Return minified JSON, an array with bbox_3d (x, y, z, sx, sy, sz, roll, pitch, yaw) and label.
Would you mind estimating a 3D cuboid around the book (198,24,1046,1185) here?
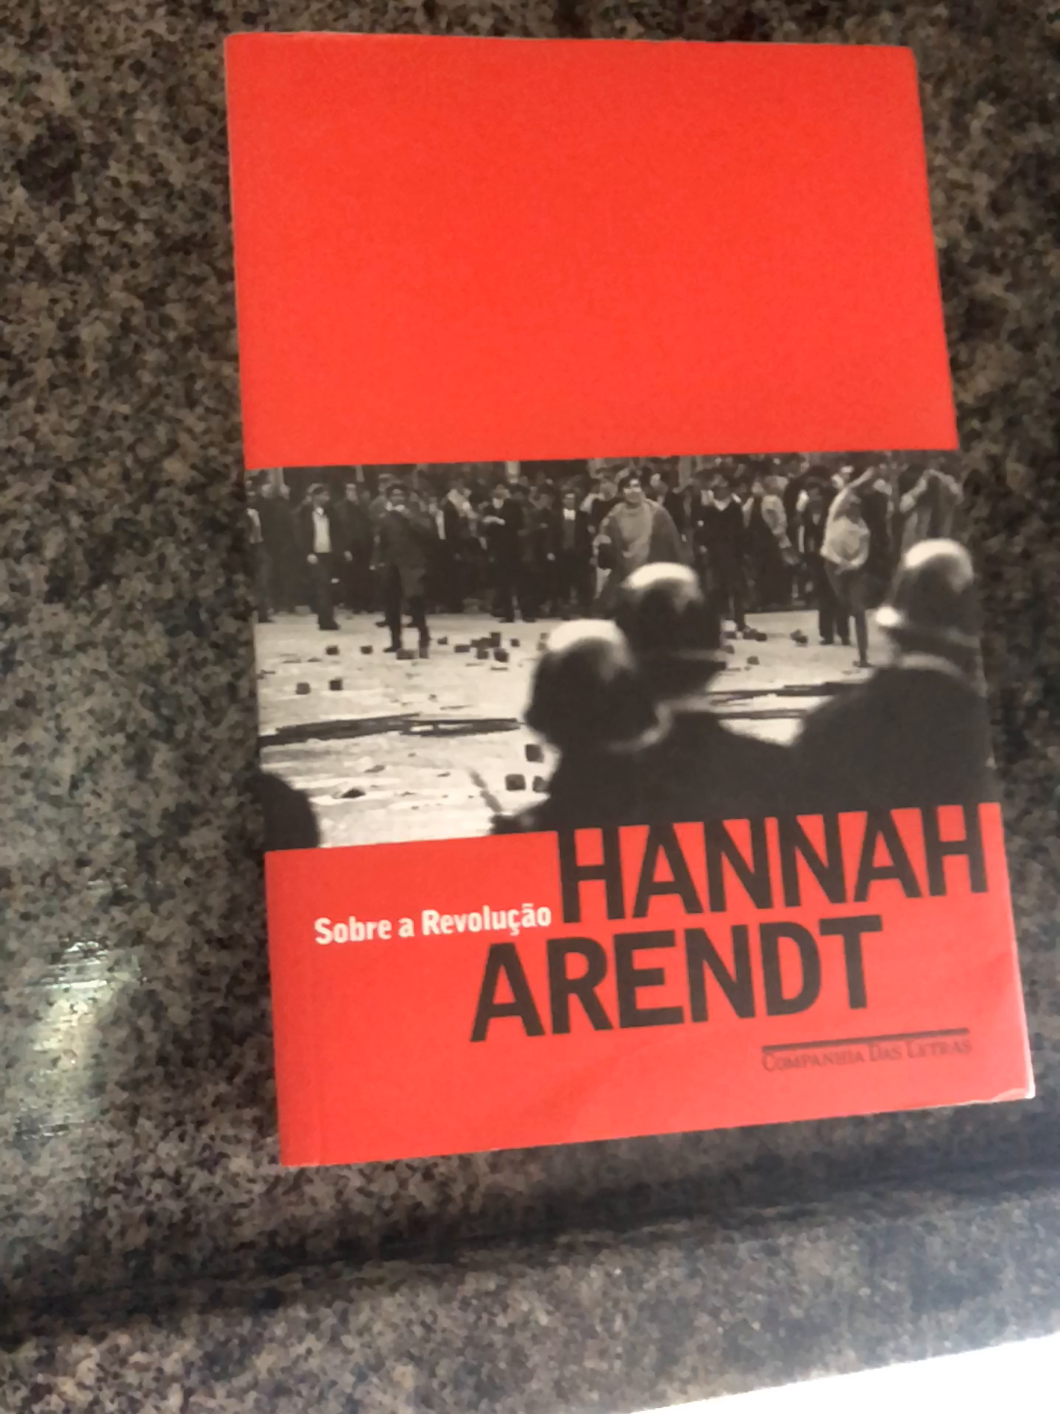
[{"bbox_3d":[0.015,-0.025,0.235,0.145,0.030,0.210,-3,85,-6],"label":"book"}]
